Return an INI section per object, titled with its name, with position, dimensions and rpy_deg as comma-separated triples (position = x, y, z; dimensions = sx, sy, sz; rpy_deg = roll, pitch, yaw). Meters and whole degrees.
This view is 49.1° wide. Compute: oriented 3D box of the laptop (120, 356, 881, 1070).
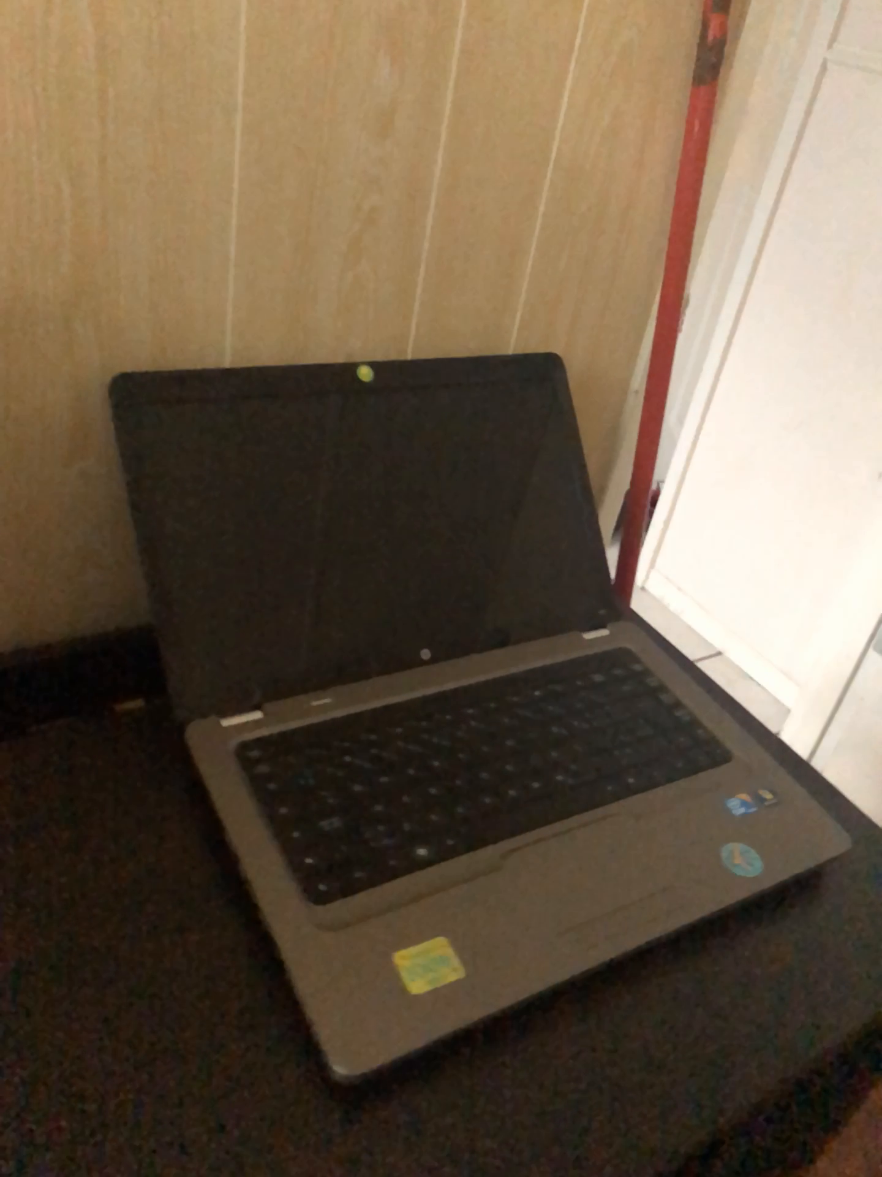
[laptop]
position = 0.024, 0.014, 0.643
dimensions = 0.363, 0.154, 0.420
rpy_deg = -10, 41, -29
